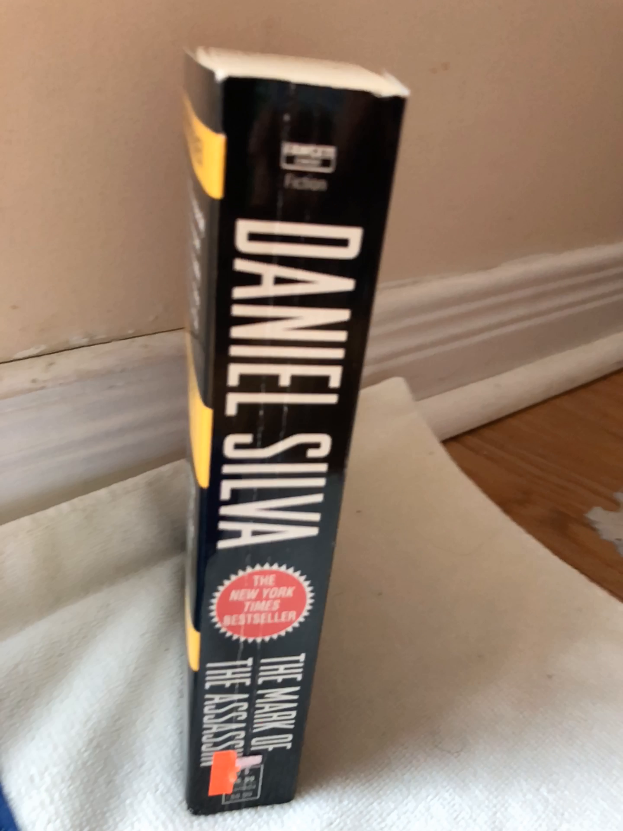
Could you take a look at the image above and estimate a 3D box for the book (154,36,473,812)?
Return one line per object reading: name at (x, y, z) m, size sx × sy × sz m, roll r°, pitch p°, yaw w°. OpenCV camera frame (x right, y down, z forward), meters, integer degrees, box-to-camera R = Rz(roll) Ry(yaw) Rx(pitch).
book at (-0.012, -0.004, 0.189) m, size 0.045 × 0.169 × 0.119 m, roll 2°, pitch 28°, yaw -7°
